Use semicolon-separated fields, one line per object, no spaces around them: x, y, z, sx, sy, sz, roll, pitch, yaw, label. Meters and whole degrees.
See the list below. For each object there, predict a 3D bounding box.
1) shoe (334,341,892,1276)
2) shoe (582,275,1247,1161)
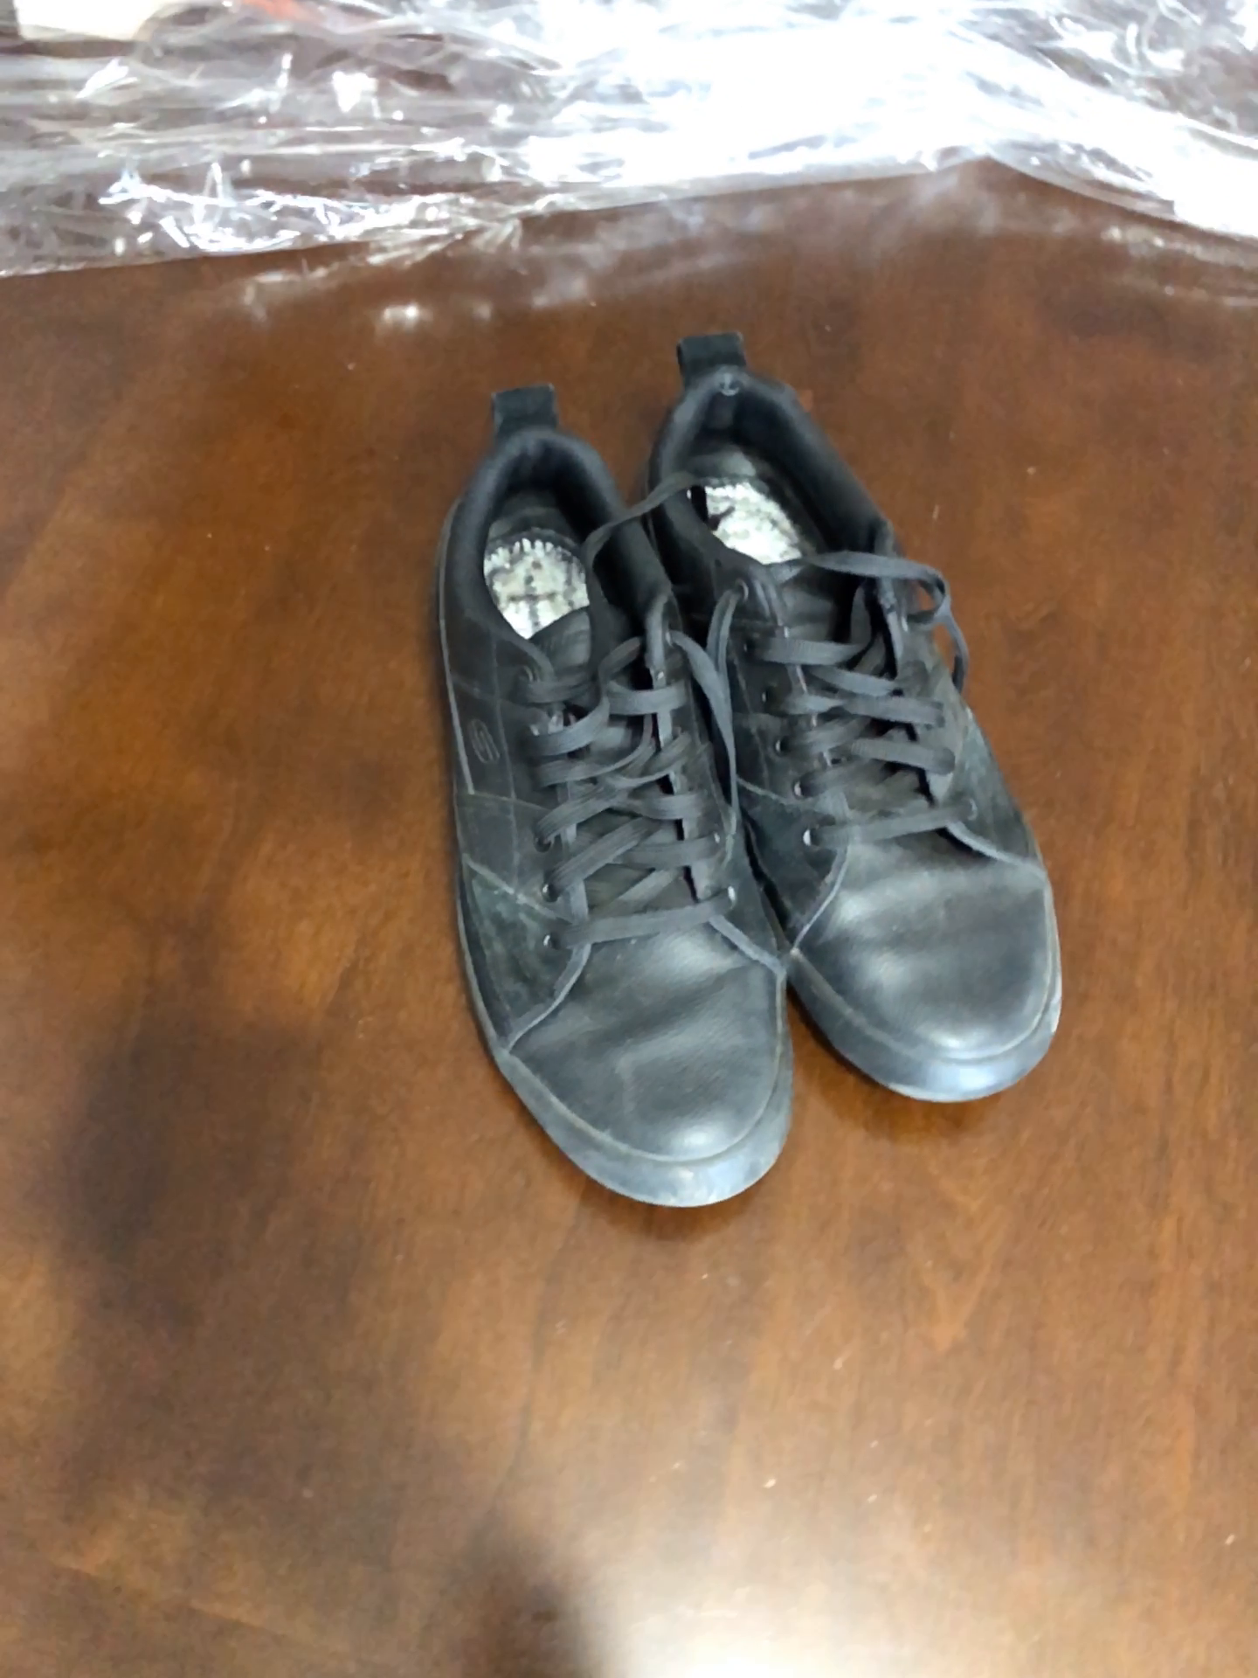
-0.019;-0.020;0.493;0.110;0.110;0.300;-11;63;-9;shoe
0.081;-0.054;0.518;0.110;0.110;0.300;-15;64;-11;shoe
